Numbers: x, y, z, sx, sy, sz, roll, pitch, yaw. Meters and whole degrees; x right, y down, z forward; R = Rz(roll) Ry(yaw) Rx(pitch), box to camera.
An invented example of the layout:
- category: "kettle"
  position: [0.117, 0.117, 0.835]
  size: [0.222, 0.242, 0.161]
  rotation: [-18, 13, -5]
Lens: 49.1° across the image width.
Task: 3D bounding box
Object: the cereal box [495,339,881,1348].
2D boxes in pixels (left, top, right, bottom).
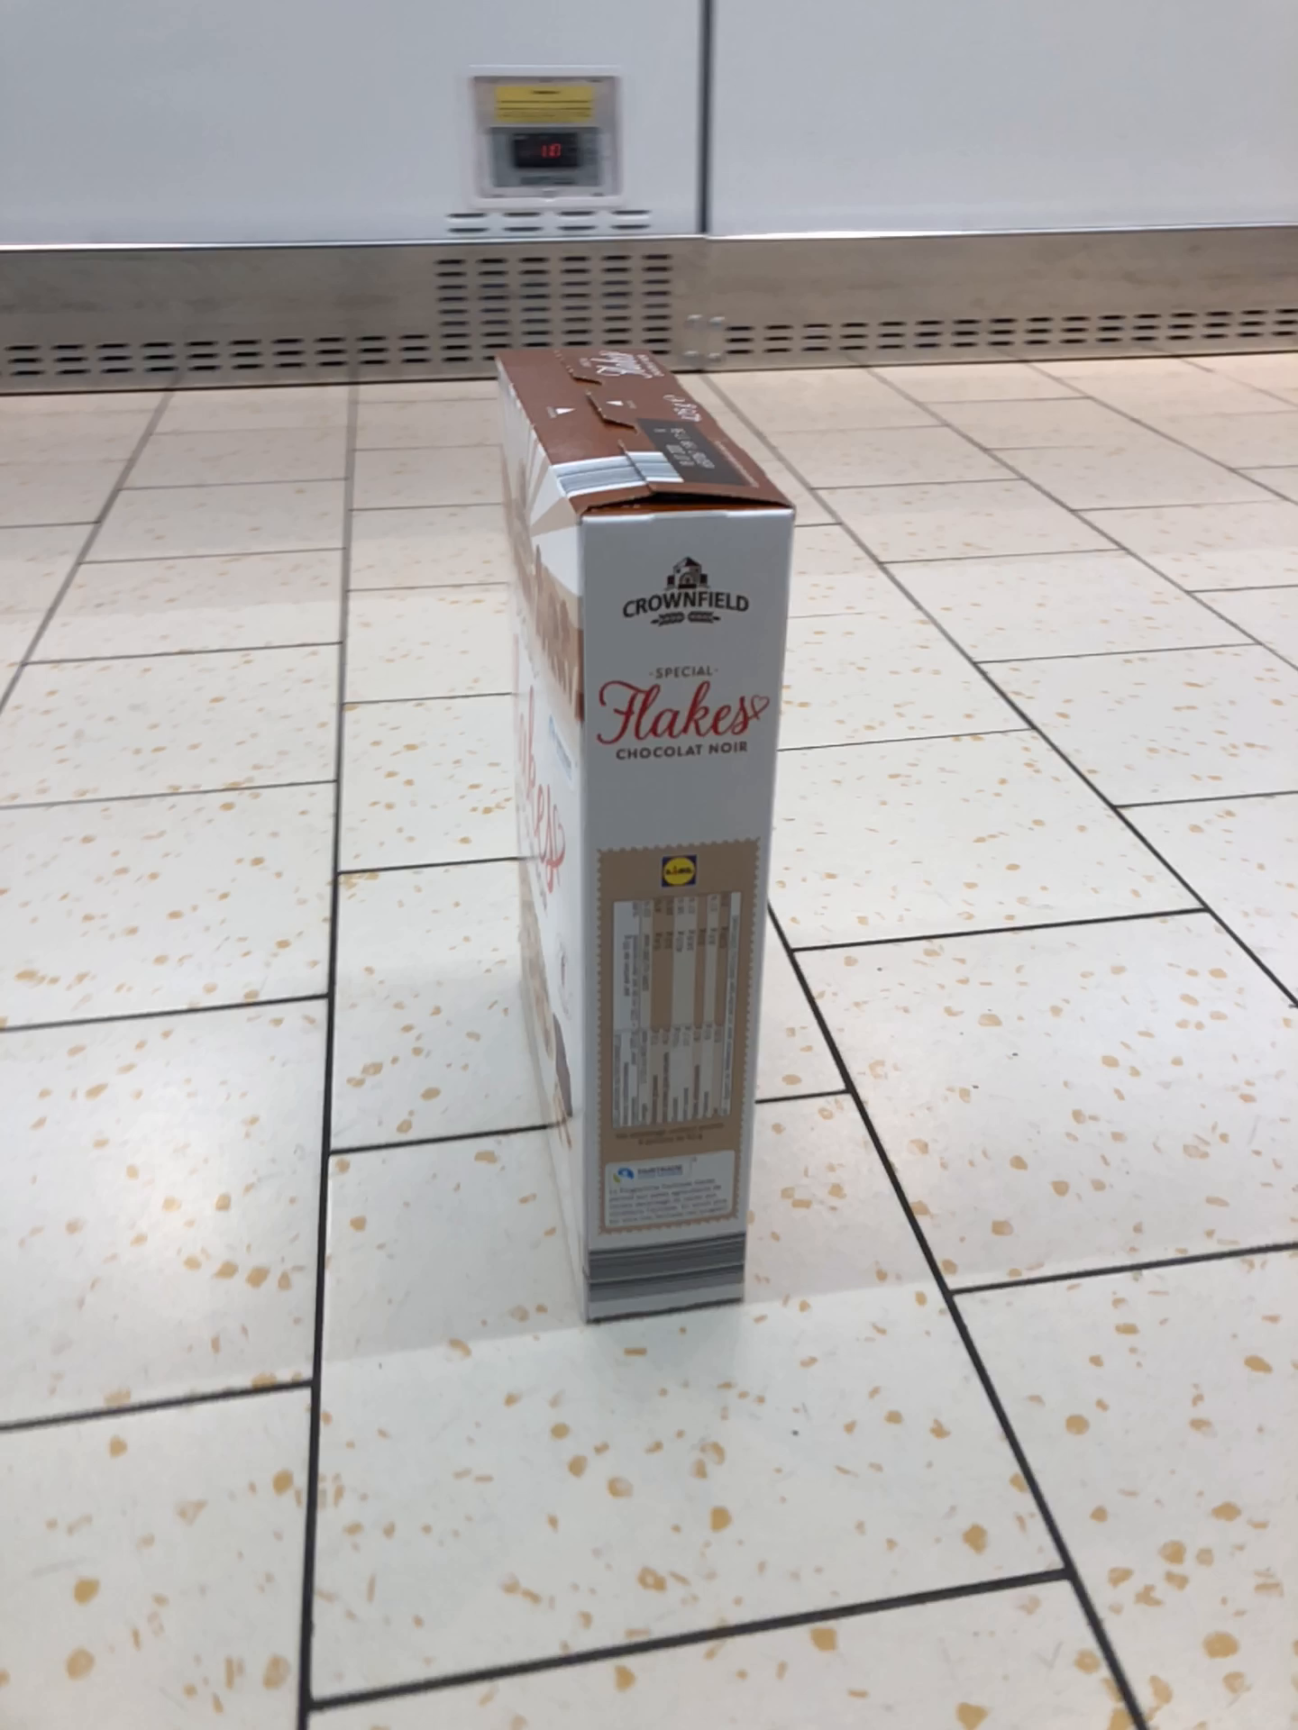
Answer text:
- category: "cereal box"
  position: [0.000, -0.017, 0.463]
  size: [0.070, 0.258, 0.201]
  rotation: [-5, 30, -9]
